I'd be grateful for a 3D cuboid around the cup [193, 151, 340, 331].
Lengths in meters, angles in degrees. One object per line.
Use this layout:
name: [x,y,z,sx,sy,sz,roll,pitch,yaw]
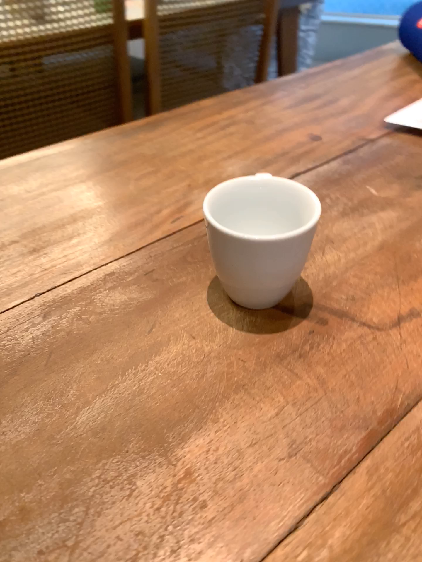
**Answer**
cup: [0.034,-0.027,0.245,0.060,0.050,0.090,10,41,13]
